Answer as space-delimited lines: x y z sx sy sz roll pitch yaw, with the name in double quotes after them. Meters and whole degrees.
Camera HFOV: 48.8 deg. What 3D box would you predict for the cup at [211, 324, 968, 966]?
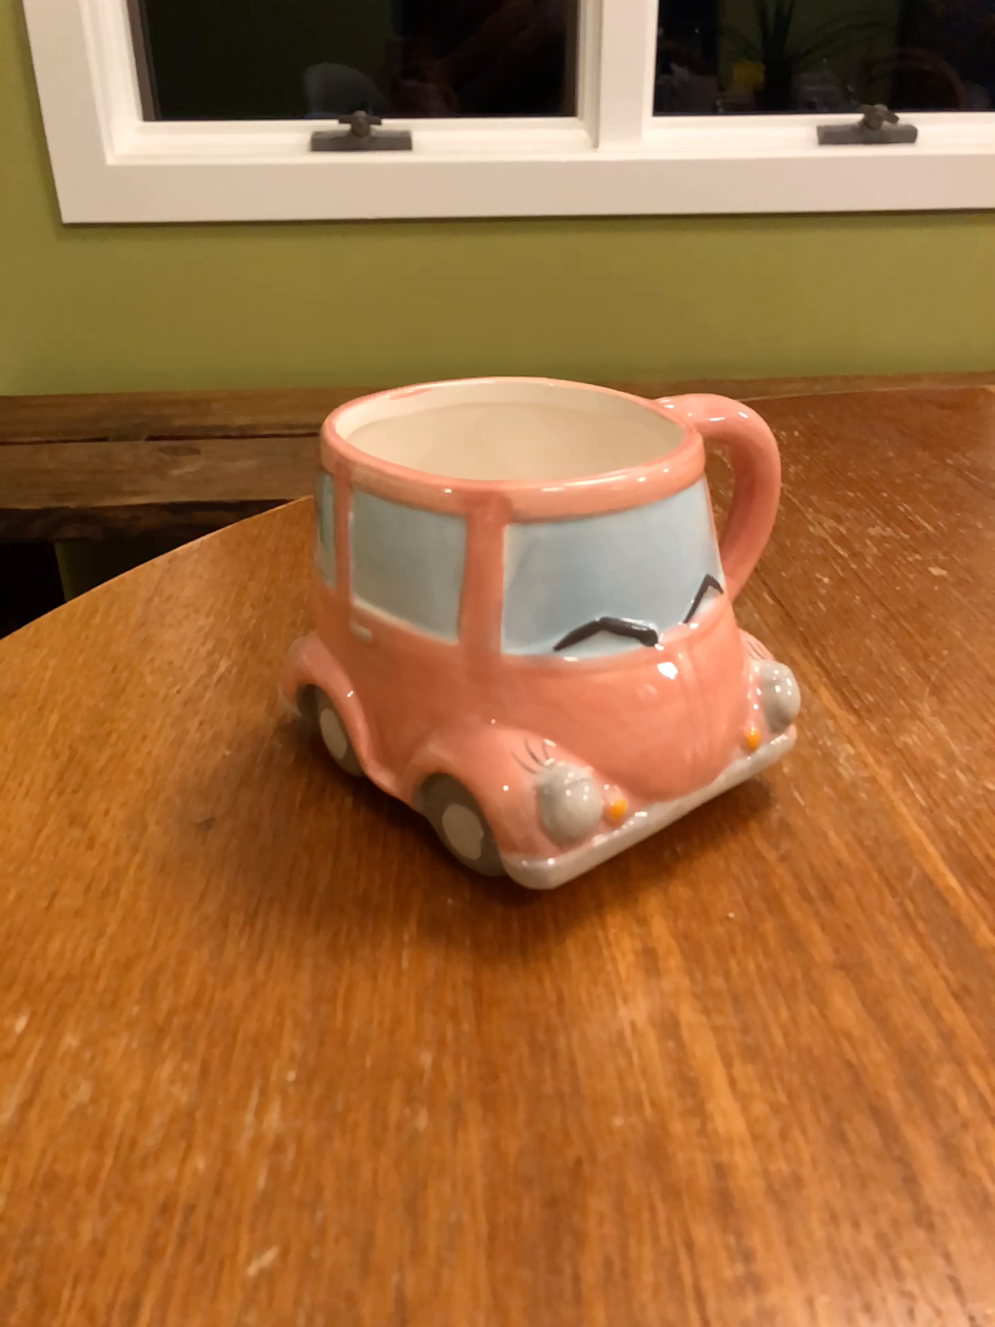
0.022 -0.023 0.296 0.140 0.097 0.128 -1 28 1 "cup"
